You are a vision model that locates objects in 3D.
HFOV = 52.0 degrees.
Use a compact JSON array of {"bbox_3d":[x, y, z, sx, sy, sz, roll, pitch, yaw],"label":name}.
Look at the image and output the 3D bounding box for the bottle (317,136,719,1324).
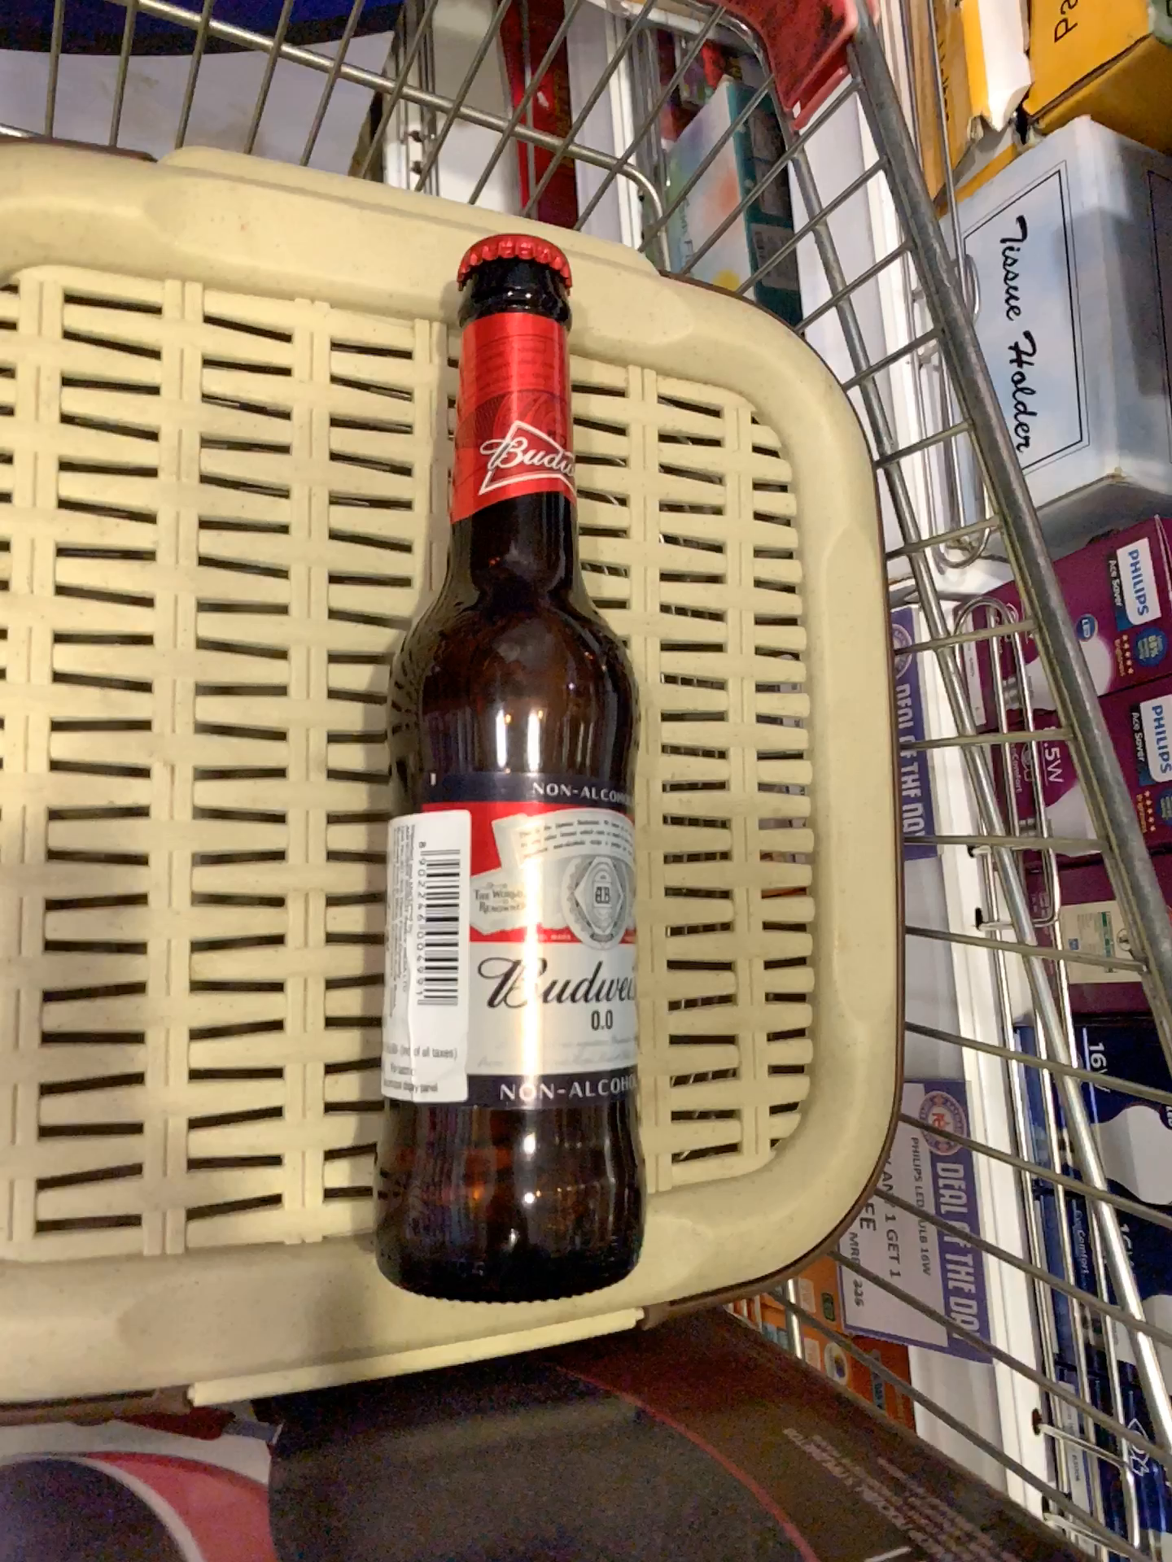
[{"bbox_3d":[-0.017,-0.011,0.263,0.060,0.060,0.220,4,83,-42],"label":"bottle"}]
